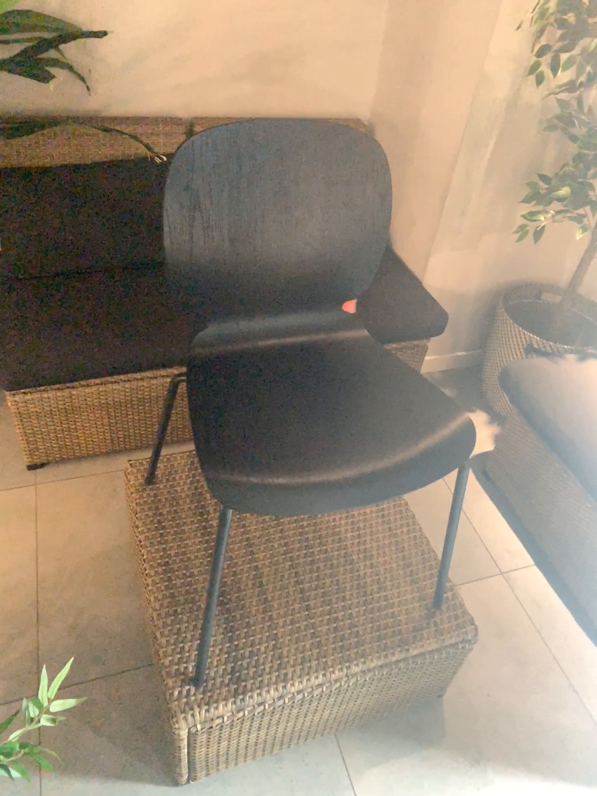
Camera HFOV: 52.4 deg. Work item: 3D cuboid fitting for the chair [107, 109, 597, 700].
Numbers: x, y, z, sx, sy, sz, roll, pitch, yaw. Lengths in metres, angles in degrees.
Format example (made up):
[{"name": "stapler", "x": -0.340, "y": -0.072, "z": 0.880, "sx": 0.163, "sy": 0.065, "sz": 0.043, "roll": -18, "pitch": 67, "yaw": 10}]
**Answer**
[{"name": "chair", "x": 0.018, "y": 0.000, "z": 1.050, "sx": 0.530, "sy": 0.767, "sz": 0.562, "roll": -10, "pitch": 45, "yaw": -20}]
